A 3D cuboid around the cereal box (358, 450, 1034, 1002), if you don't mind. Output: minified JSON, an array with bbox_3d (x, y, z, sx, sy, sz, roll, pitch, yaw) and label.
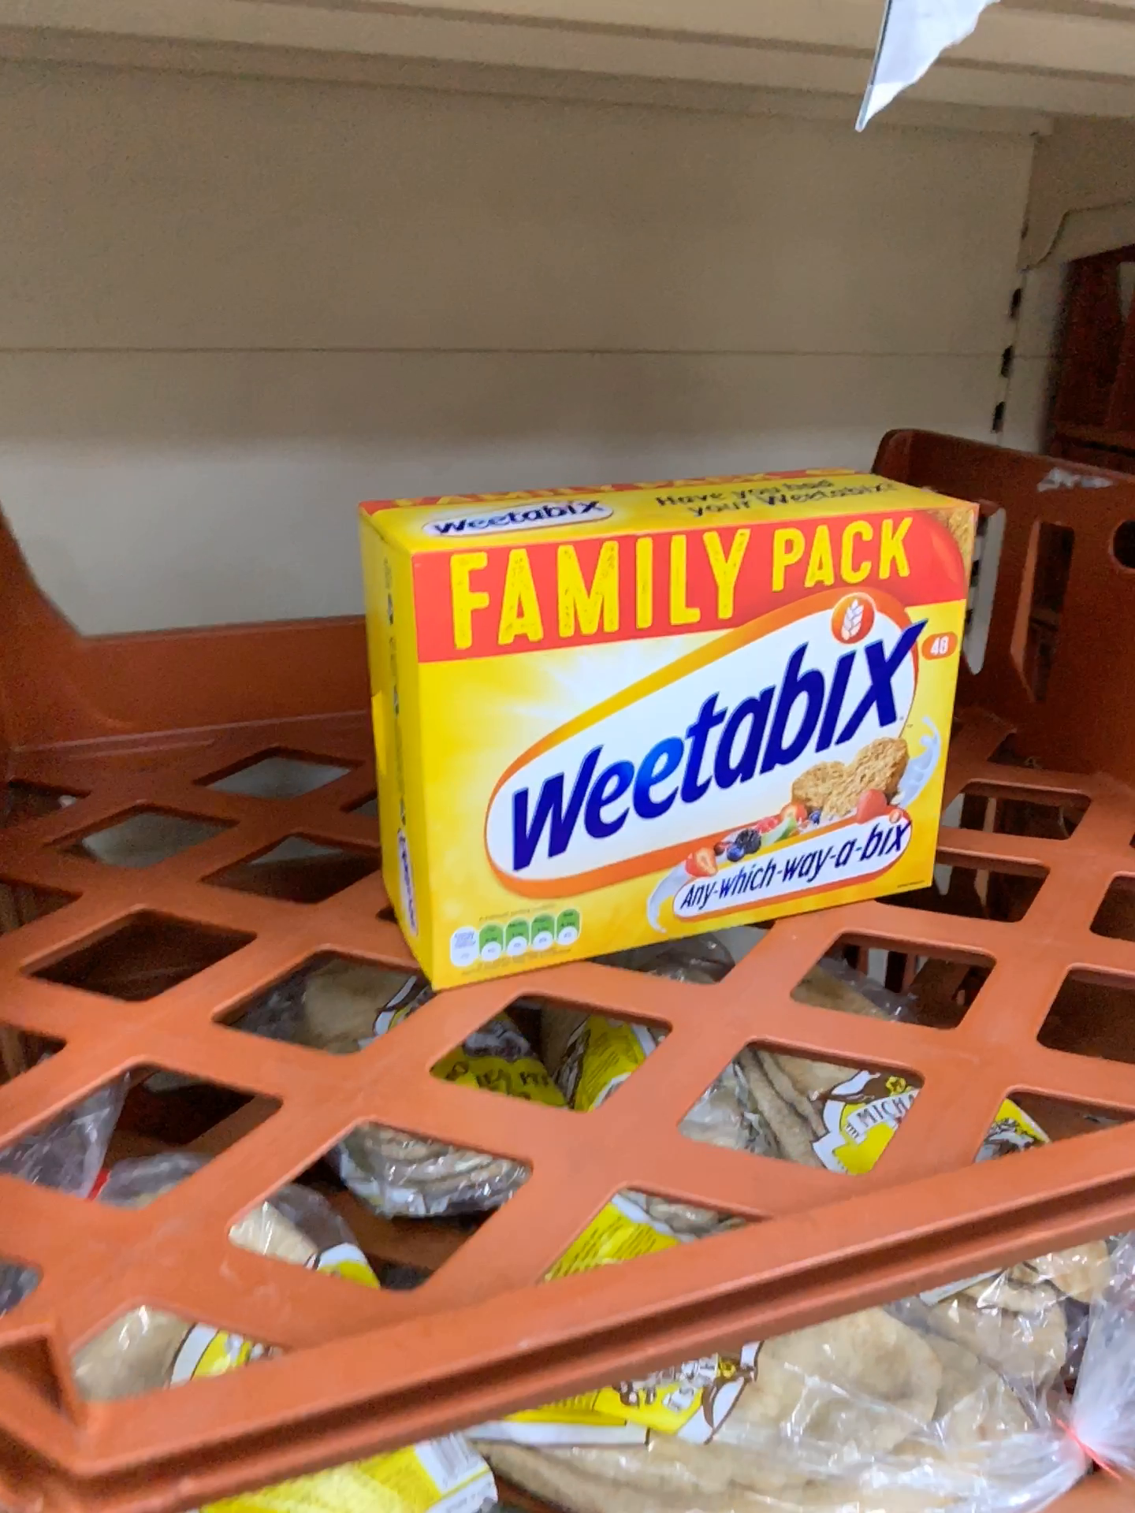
[{"bbox_3d":[0.052,-0.026,0.513,0.261,0.188,0.101,-8,24,-21],"label":"cereal box"}]
